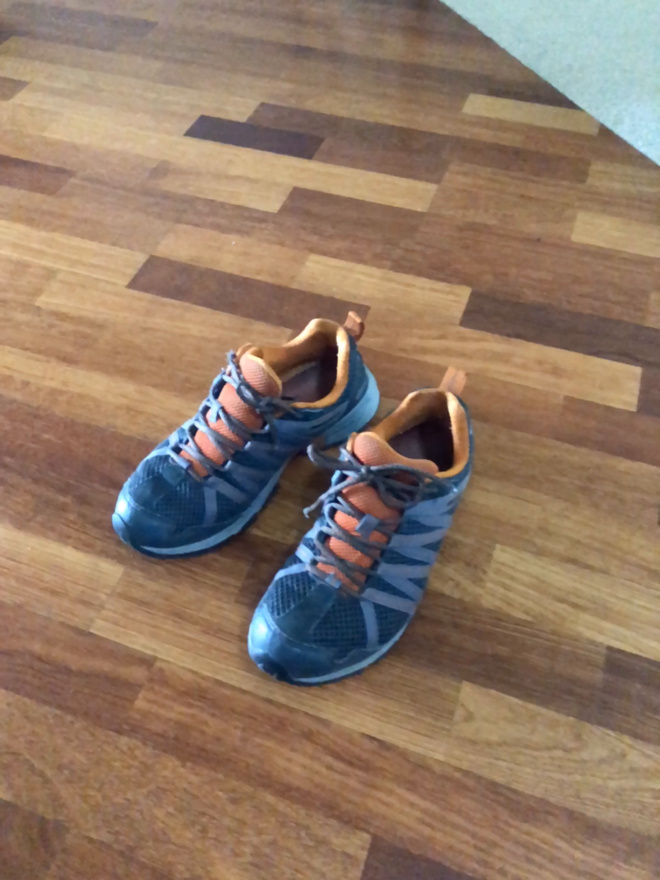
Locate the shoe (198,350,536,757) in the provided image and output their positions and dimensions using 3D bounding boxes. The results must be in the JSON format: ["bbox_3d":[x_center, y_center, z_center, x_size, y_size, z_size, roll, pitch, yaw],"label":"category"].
[{"bbox_3d":[0.039,0.077,0.576,0.119,0.117,0.279,27,57,20],"label":"shoe"}]

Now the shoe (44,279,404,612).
[{"bbox_3d":[-0.077,-0.004,0.636,0.282,0.117,0.113,-37,60,-25],"label":"shoe"}]
